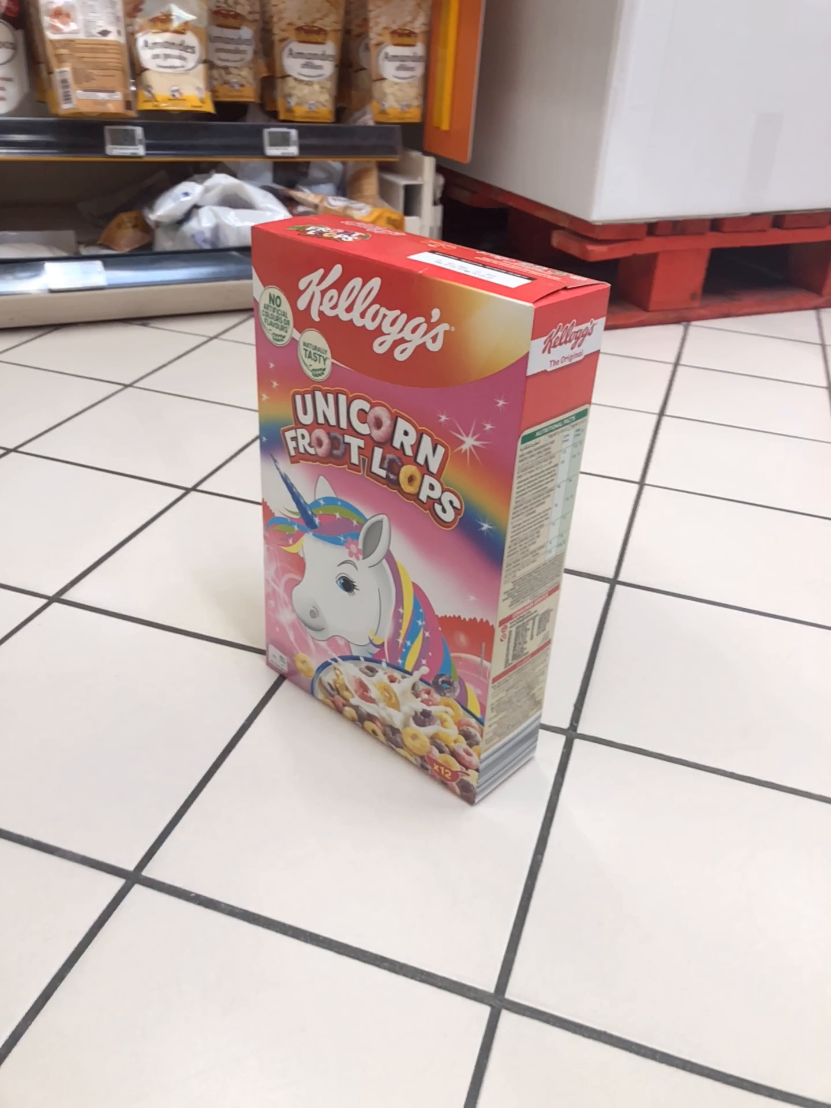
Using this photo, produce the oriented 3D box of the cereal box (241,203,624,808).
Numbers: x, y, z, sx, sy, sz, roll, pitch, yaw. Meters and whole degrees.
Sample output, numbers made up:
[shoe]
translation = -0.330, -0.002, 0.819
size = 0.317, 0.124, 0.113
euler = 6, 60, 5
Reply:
[cereal box]
translation = -0.007, -0.030, 0.539
size = 0.200, 0.298, 0.070
euler = 27, 37, 34
